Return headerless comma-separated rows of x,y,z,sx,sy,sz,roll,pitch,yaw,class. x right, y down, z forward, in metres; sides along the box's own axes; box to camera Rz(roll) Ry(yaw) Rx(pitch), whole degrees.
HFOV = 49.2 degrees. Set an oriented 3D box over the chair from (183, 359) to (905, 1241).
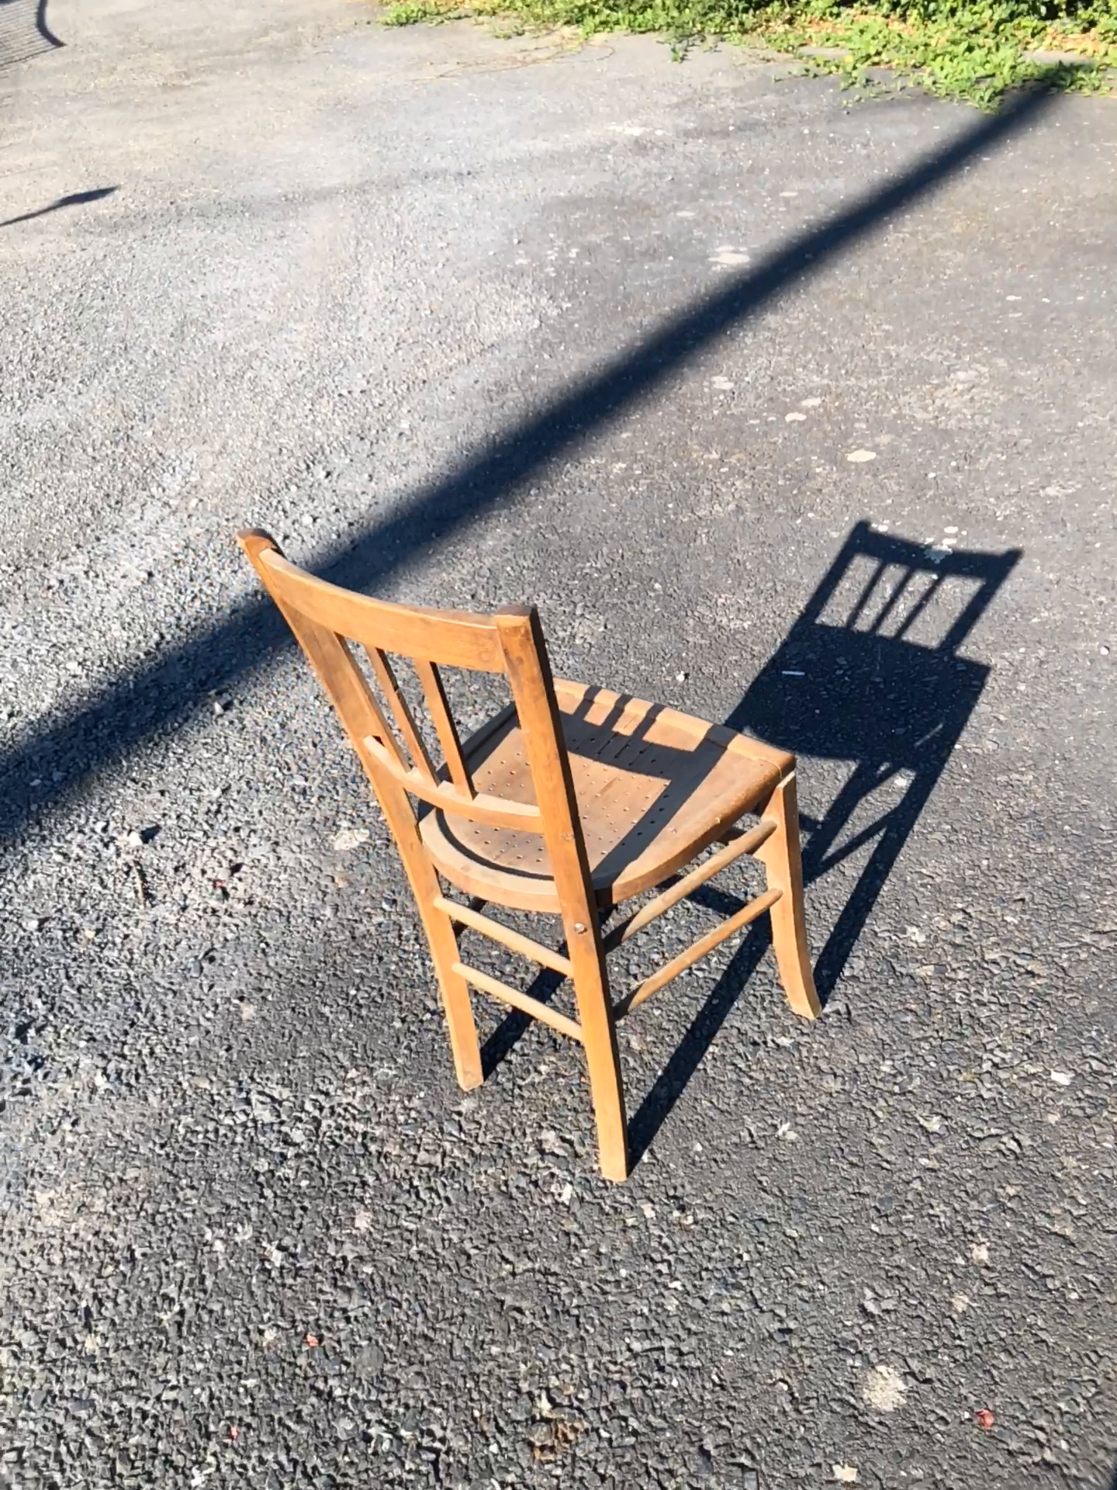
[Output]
0.016,0.017,1.410,0.490,0.736,0.543,22,40,37,chair
